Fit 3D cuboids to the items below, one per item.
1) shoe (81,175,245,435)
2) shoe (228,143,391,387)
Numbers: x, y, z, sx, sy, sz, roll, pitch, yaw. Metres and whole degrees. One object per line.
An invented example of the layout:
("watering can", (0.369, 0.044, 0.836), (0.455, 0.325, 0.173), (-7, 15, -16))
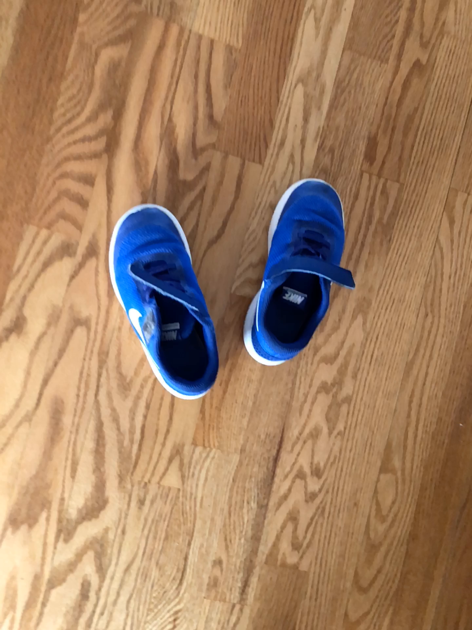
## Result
("shoe", (-0.071, -0.010, 0.505), (0.093, 0.092, 0.214), (-15, 93, -10))
("shoe", (0.071, -0.047, 0.538), (0.093, 0.092, 0.214), (15, 88, -10))
